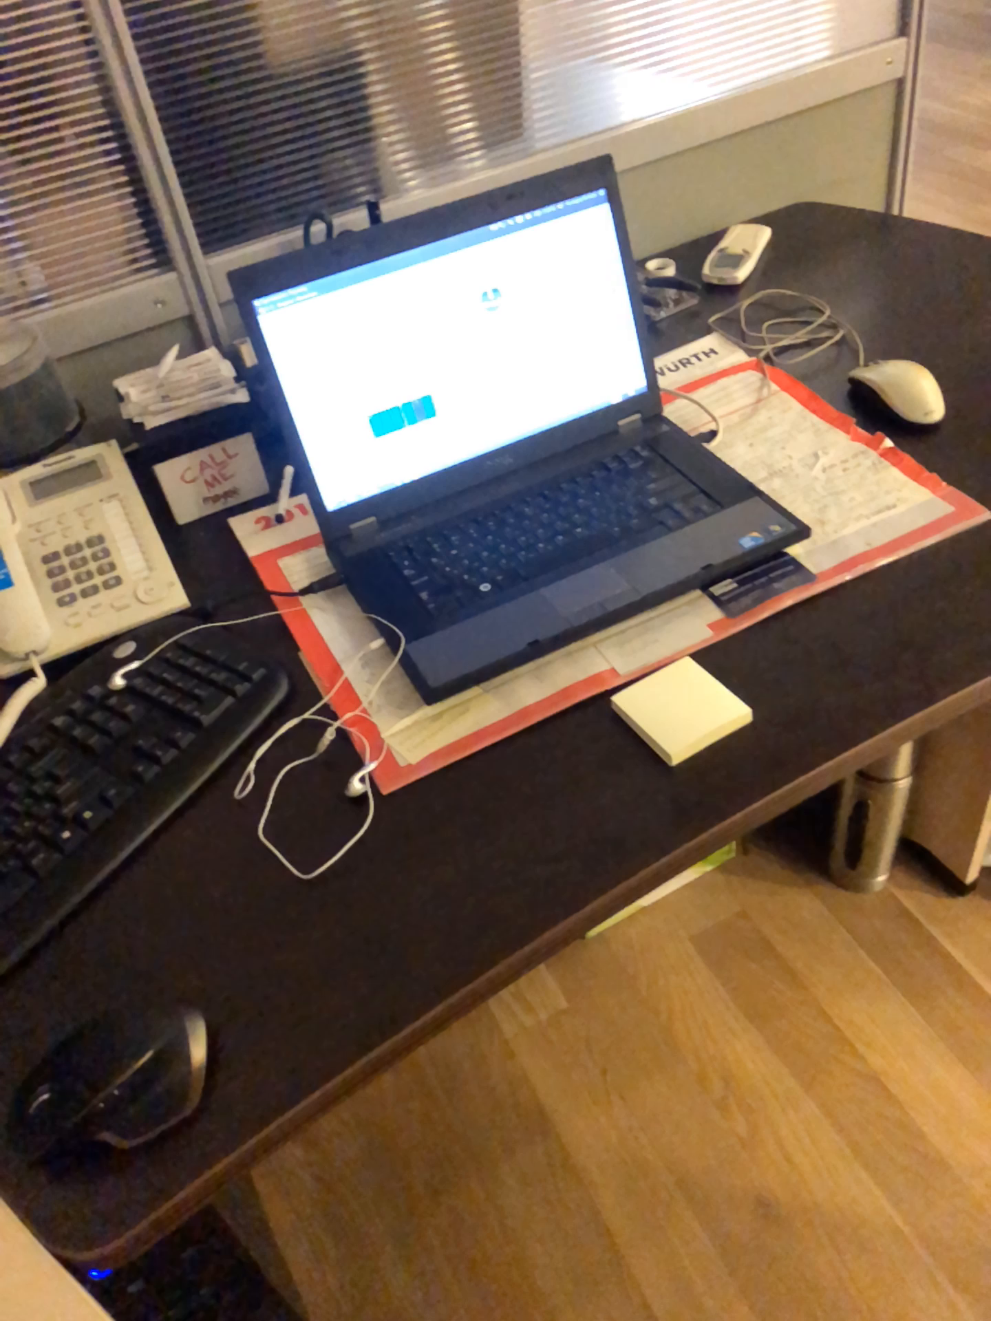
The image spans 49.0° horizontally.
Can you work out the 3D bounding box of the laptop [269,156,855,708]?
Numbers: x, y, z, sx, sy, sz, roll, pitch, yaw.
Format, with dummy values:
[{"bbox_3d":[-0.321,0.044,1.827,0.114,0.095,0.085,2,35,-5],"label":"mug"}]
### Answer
[{"bbox_3d":[0.044,-0.182,0.796,0.317,0.209,0.256,-24,45,-14],"label":"laptop"}]
